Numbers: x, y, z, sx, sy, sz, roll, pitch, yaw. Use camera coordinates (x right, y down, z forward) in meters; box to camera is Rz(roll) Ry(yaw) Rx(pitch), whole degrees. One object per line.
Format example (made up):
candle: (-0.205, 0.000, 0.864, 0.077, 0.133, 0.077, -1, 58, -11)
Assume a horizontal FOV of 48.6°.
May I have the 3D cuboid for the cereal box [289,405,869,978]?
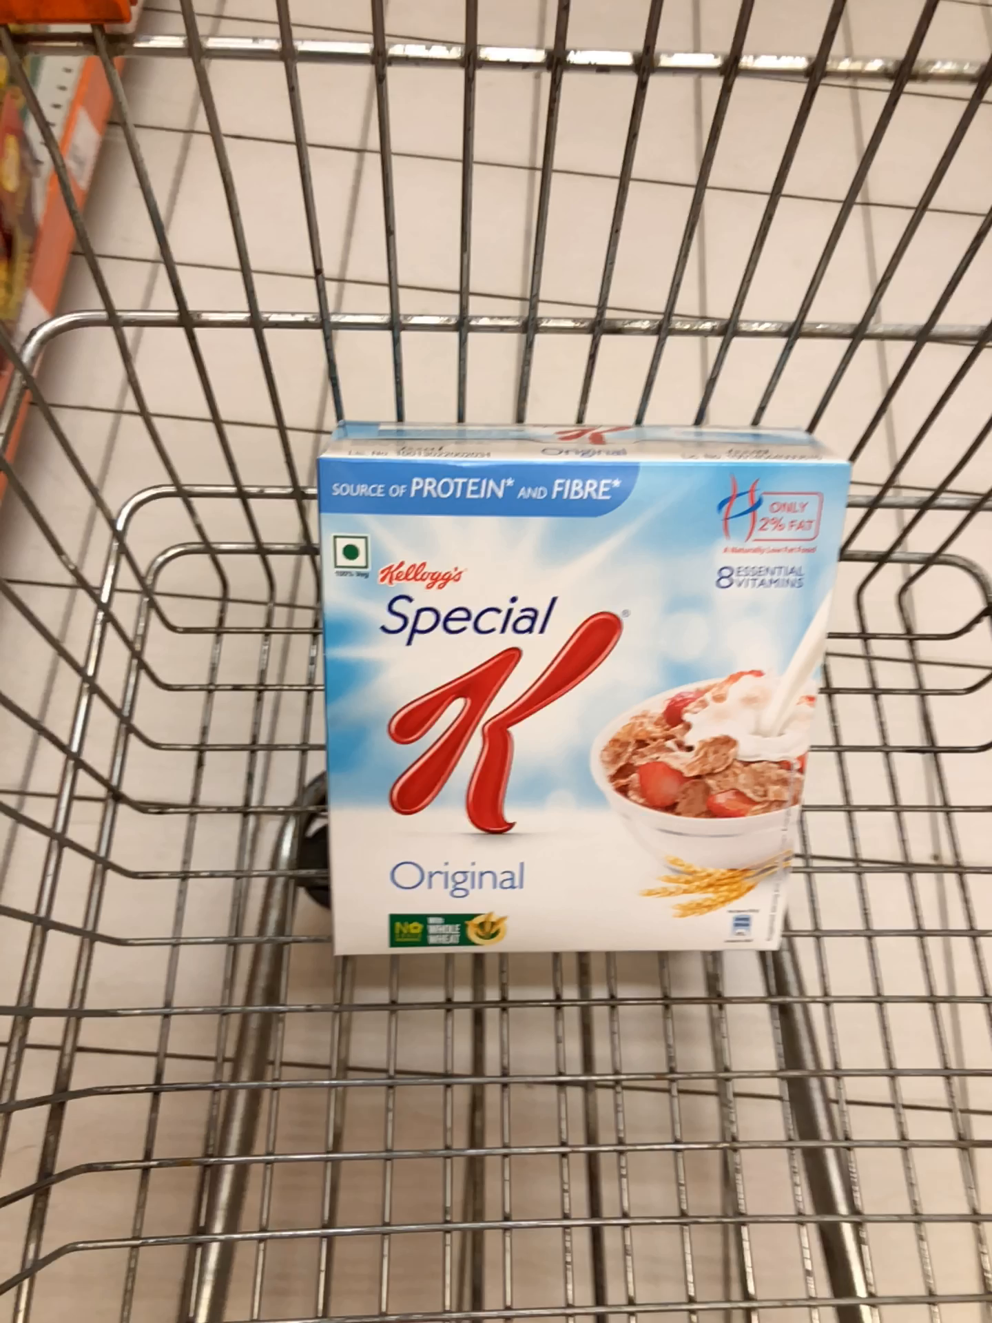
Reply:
cereal box: (0.023, 0.014, 0.430, 0.190, 0.209, 0.070, 0, 23, -5)
